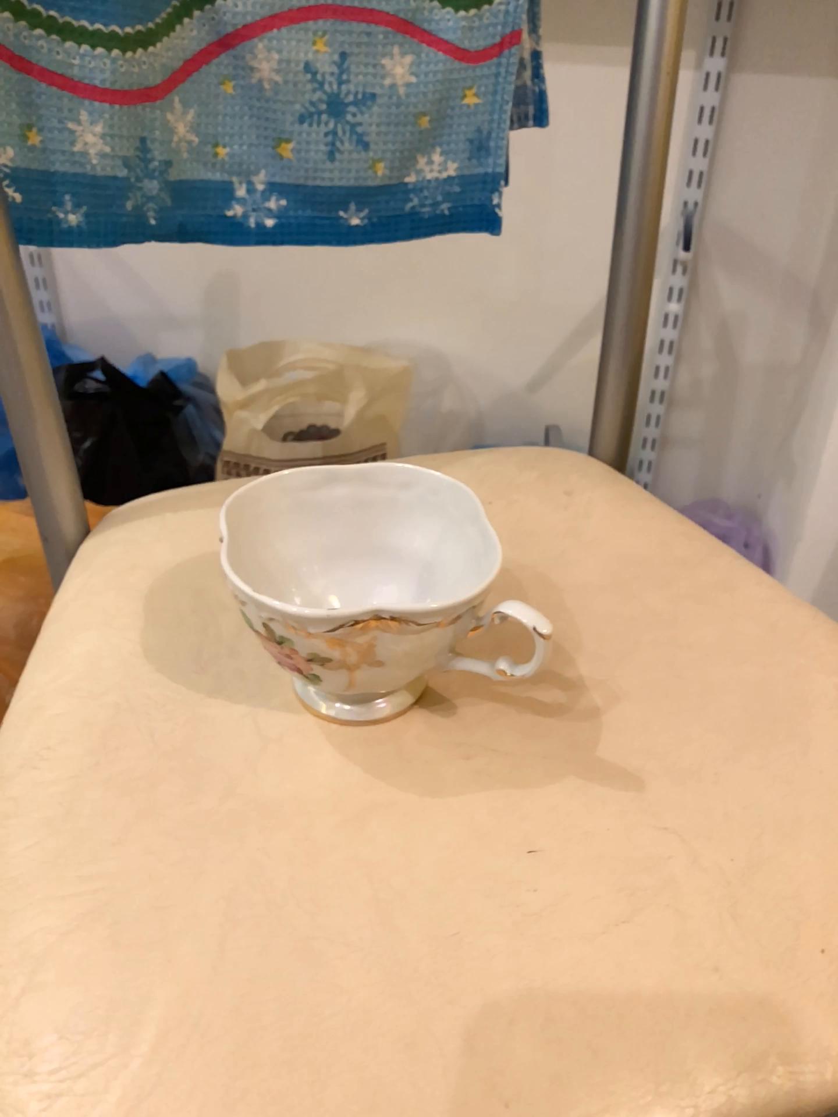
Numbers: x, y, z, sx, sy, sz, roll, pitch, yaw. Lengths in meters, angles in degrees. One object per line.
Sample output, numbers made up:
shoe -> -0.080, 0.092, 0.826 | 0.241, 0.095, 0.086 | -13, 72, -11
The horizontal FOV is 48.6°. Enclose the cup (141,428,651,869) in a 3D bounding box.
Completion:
cup -> -0.009, 0.020, 0.329 | 0.140, 0.064, 0.101 | 25, 40, 31
